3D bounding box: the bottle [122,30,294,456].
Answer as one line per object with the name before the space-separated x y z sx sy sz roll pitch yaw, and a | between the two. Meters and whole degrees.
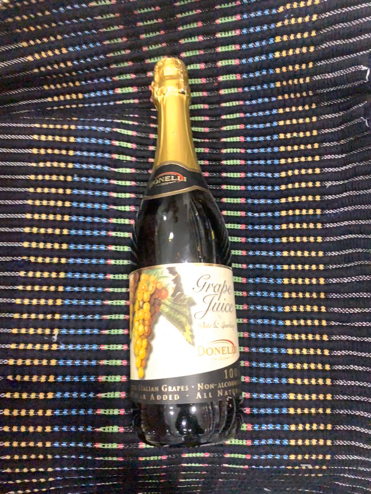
bottle | -0.001 -0.018 0.295 0.090 0.080 0.300 -1 69 -10
